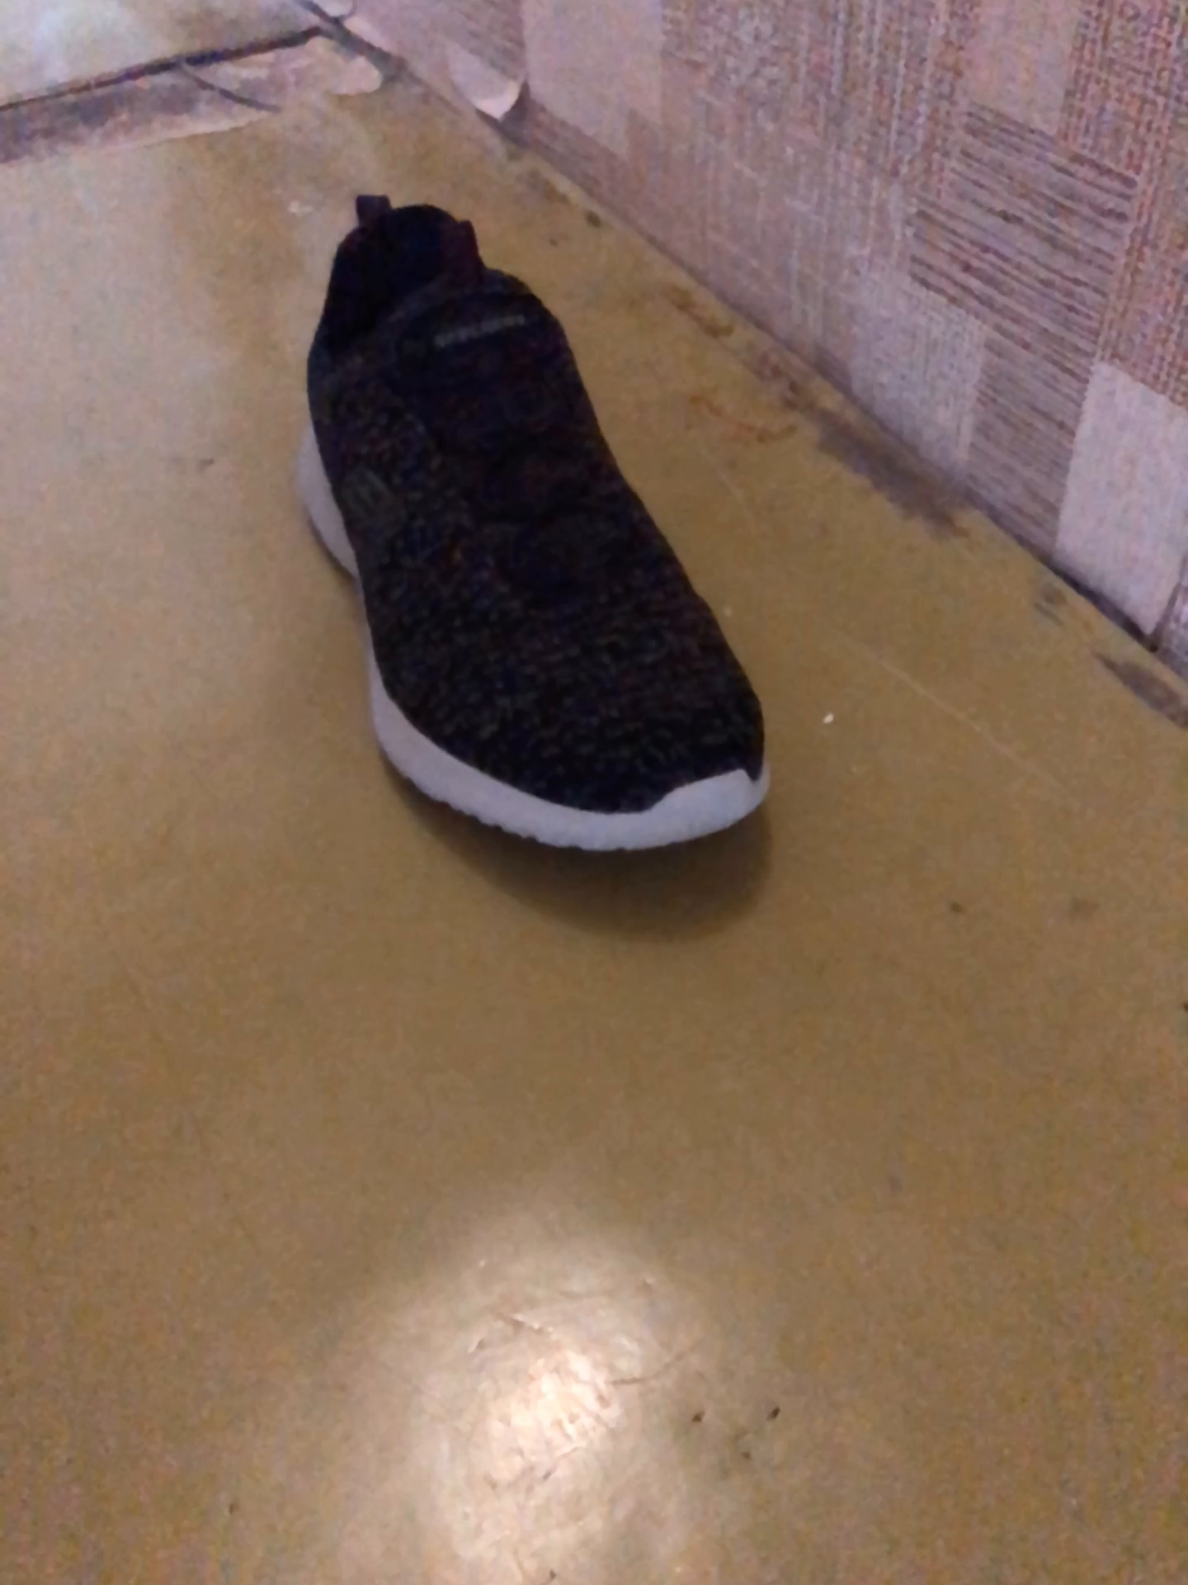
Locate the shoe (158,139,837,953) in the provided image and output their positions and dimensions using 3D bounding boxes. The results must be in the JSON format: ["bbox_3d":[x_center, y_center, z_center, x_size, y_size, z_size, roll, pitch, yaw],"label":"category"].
[{"bbox_3d":[-0.054,-0.116,0.489,0.130,0.119,0.321,-17,47,-15],"label":"shoe"}]
